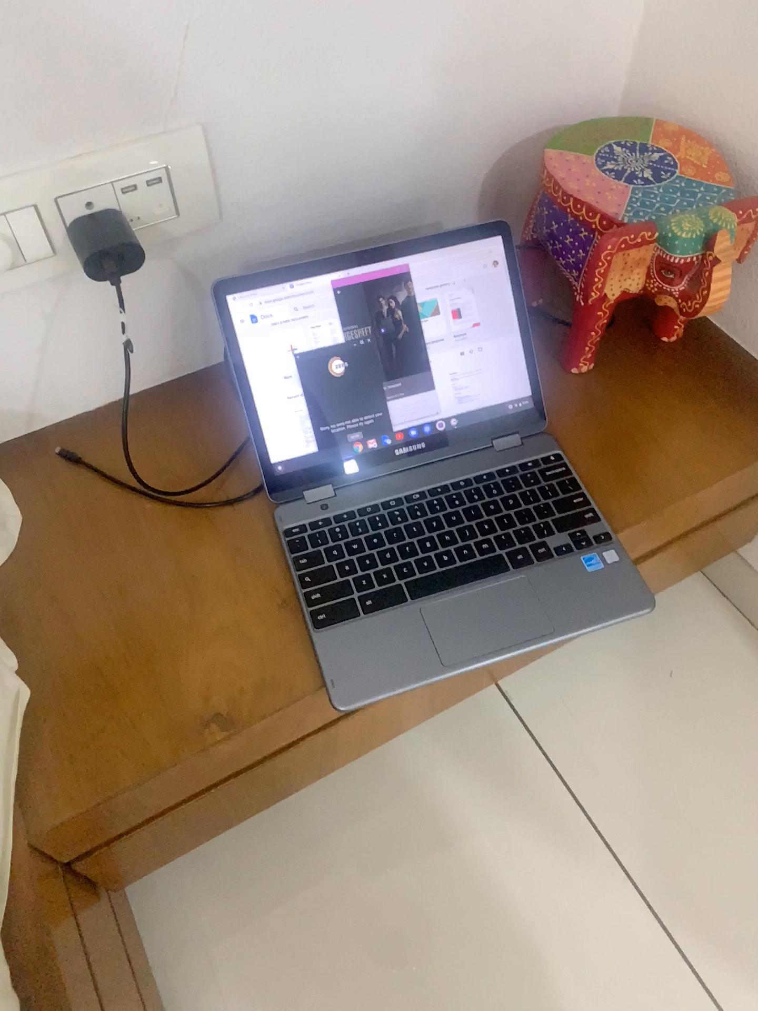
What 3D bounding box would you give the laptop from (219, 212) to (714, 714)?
[{"bbox_3d":[0.052,-0.061,0.743,0.314,0.164,0.384,-16,58,-10],"label":"laptop"}]
